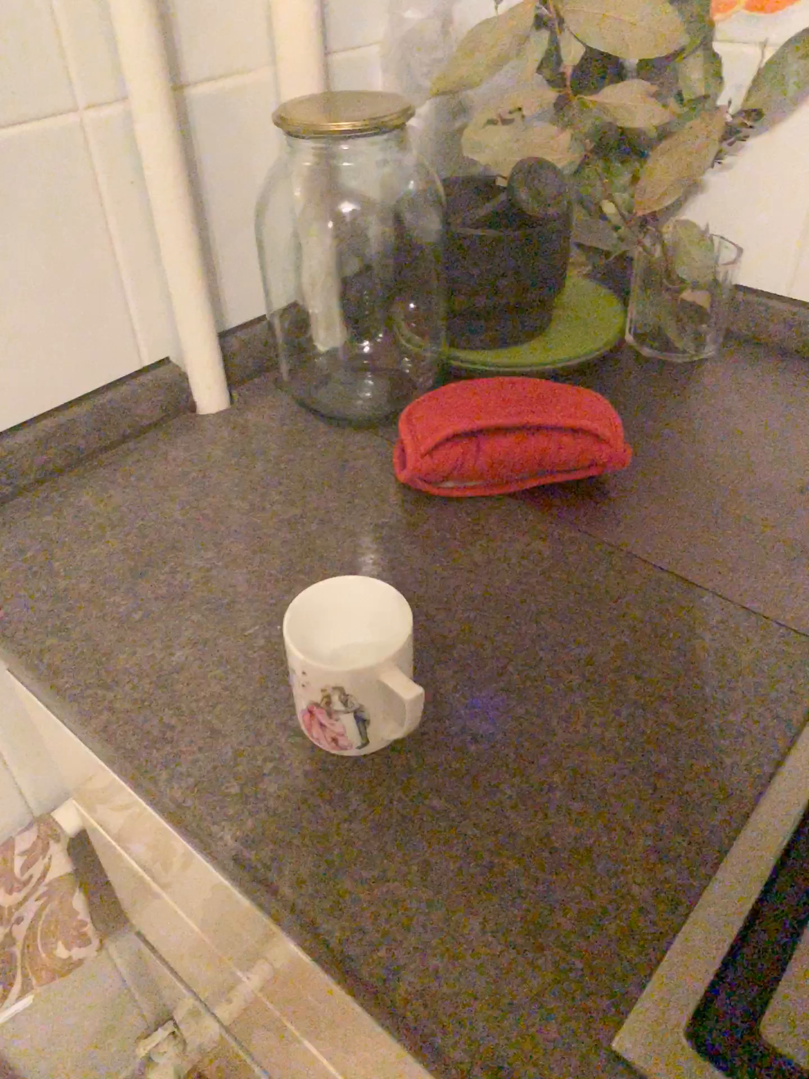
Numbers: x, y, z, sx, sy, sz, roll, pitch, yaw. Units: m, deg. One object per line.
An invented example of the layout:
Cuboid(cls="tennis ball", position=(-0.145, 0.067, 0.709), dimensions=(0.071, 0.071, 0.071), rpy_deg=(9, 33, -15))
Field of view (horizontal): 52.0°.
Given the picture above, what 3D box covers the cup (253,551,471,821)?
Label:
Cuboid(cls="cup", position=(-0.019, 0.064, 0.380), dimensions=(0.060, 0.069, 0.080), rpy_deg=(-25, 44, -26))
